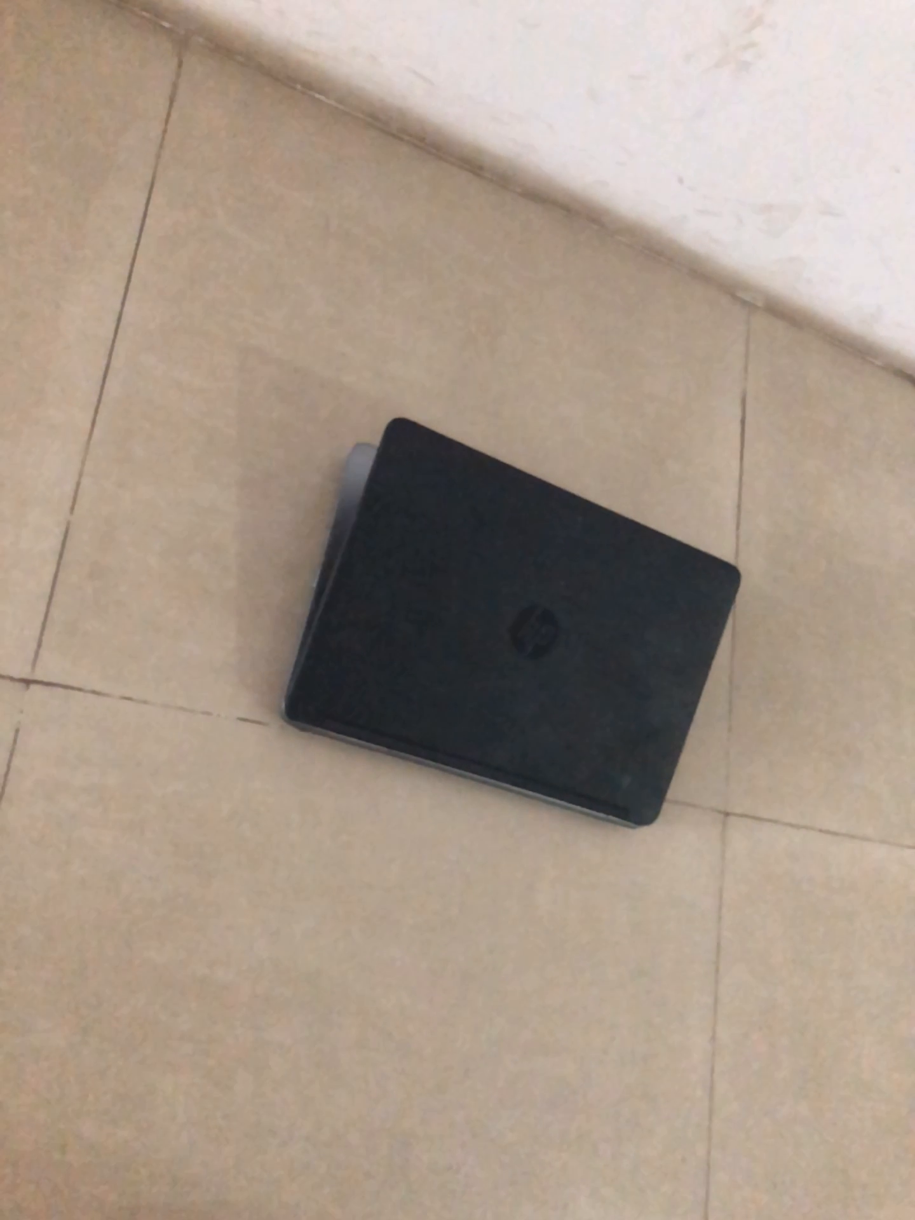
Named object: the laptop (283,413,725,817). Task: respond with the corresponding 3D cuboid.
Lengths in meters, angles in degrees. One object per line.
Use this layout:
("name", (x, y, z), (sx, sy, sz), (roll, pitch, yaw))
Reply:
("laptop", (0.048, 0.018, 0.786), (0.304, 0.085, 0.214), (21, 73, -24))
